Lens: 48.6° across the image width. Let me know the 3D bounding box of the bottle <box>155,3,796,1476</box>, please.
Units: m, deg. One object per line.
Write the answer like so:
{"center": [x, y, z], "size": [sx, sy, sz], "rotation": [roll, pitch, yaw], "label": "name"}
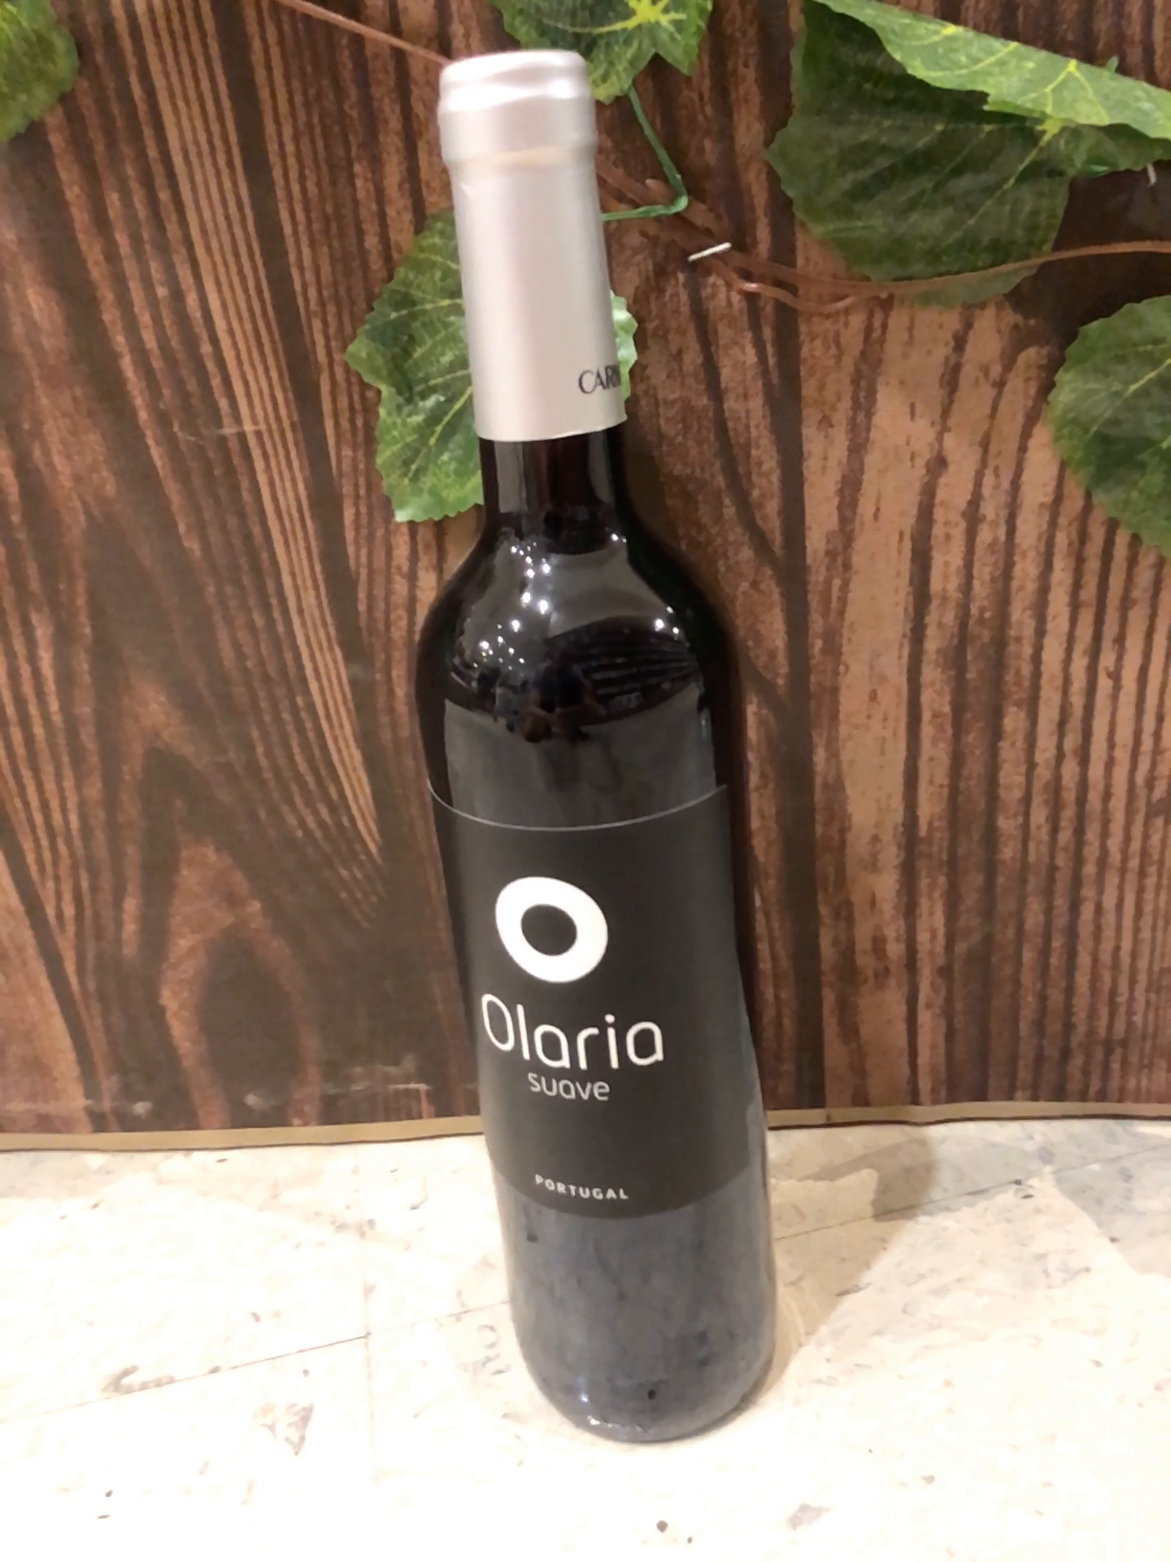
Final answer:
{"center": [-0.003, 0.009, 0.287], "size": [0.080, 0.298, 0.081], "rotation": [-5, 24, 2], "label": "bottle"}
